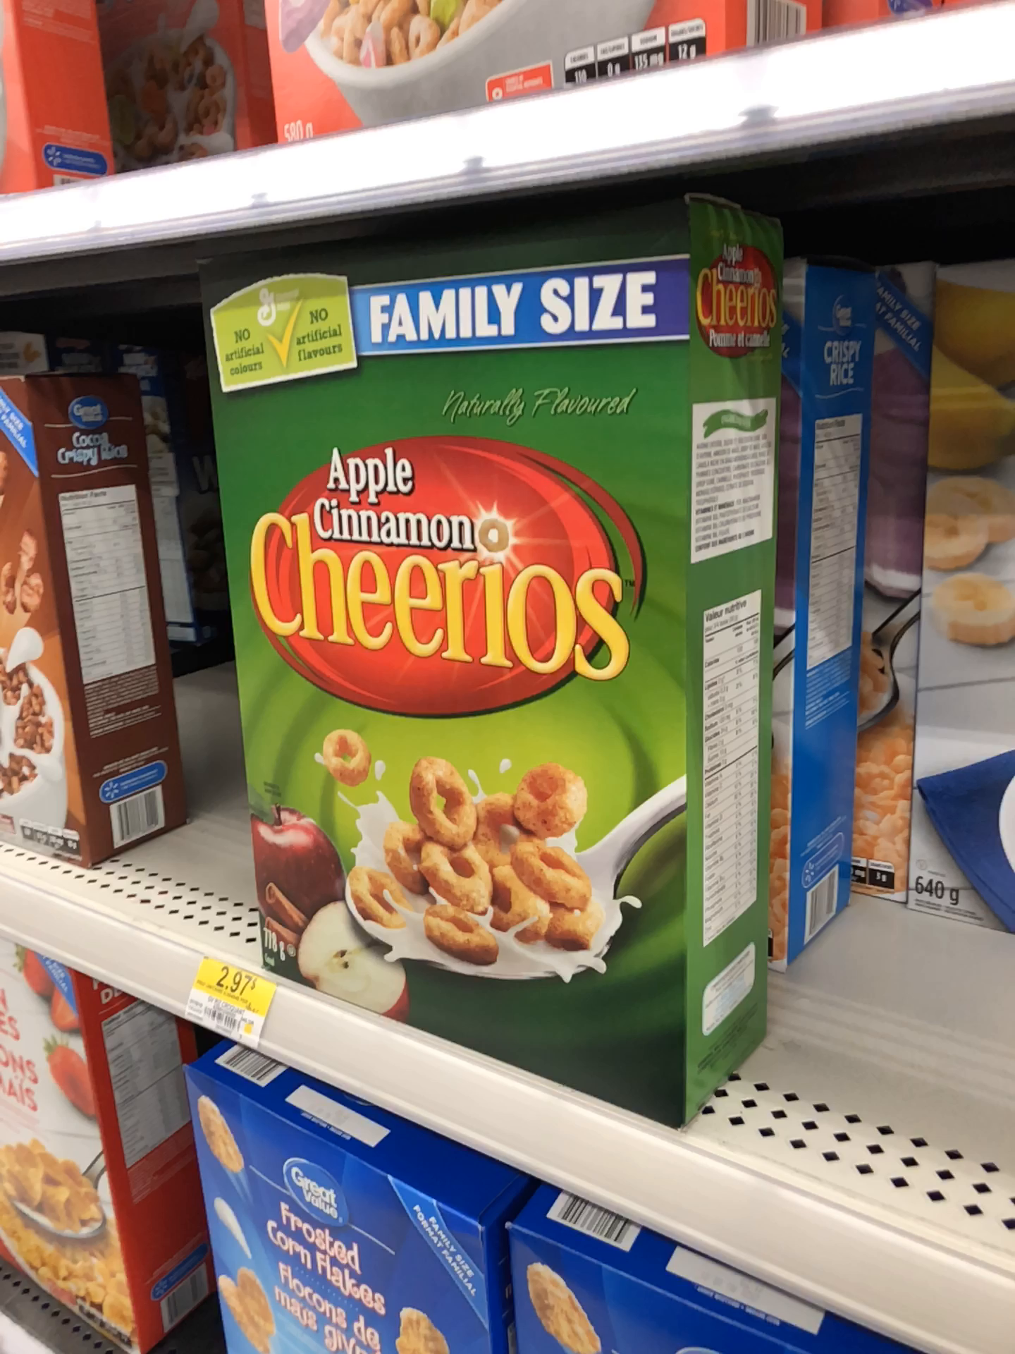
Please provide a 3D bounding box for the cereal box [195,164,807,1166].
[{"bbox_3d":[-0.004,-0.010,0.493,0.241,0.358,0.090,8,18,36],"label":"cereal box"}]
